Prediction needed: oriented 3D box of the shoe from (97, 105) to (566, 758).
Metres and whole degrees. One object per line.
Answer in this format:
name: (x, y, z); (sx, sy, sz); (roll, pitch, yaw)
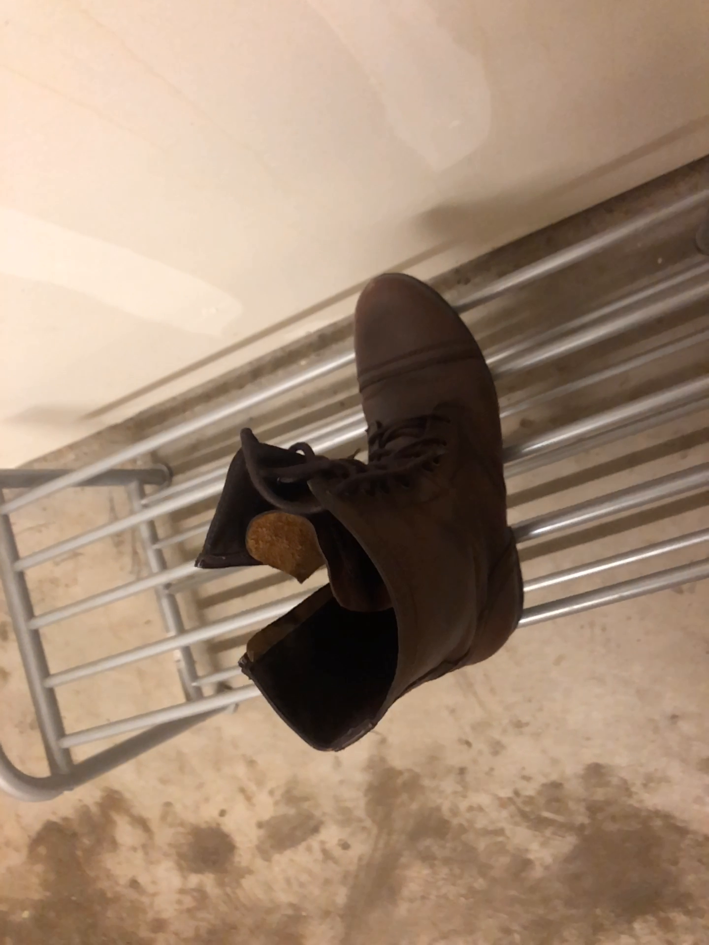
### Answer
shoe: (0.006, -0.017, 0.479); (0.122, 0.238, 0.287); (-17, 85, 26)
